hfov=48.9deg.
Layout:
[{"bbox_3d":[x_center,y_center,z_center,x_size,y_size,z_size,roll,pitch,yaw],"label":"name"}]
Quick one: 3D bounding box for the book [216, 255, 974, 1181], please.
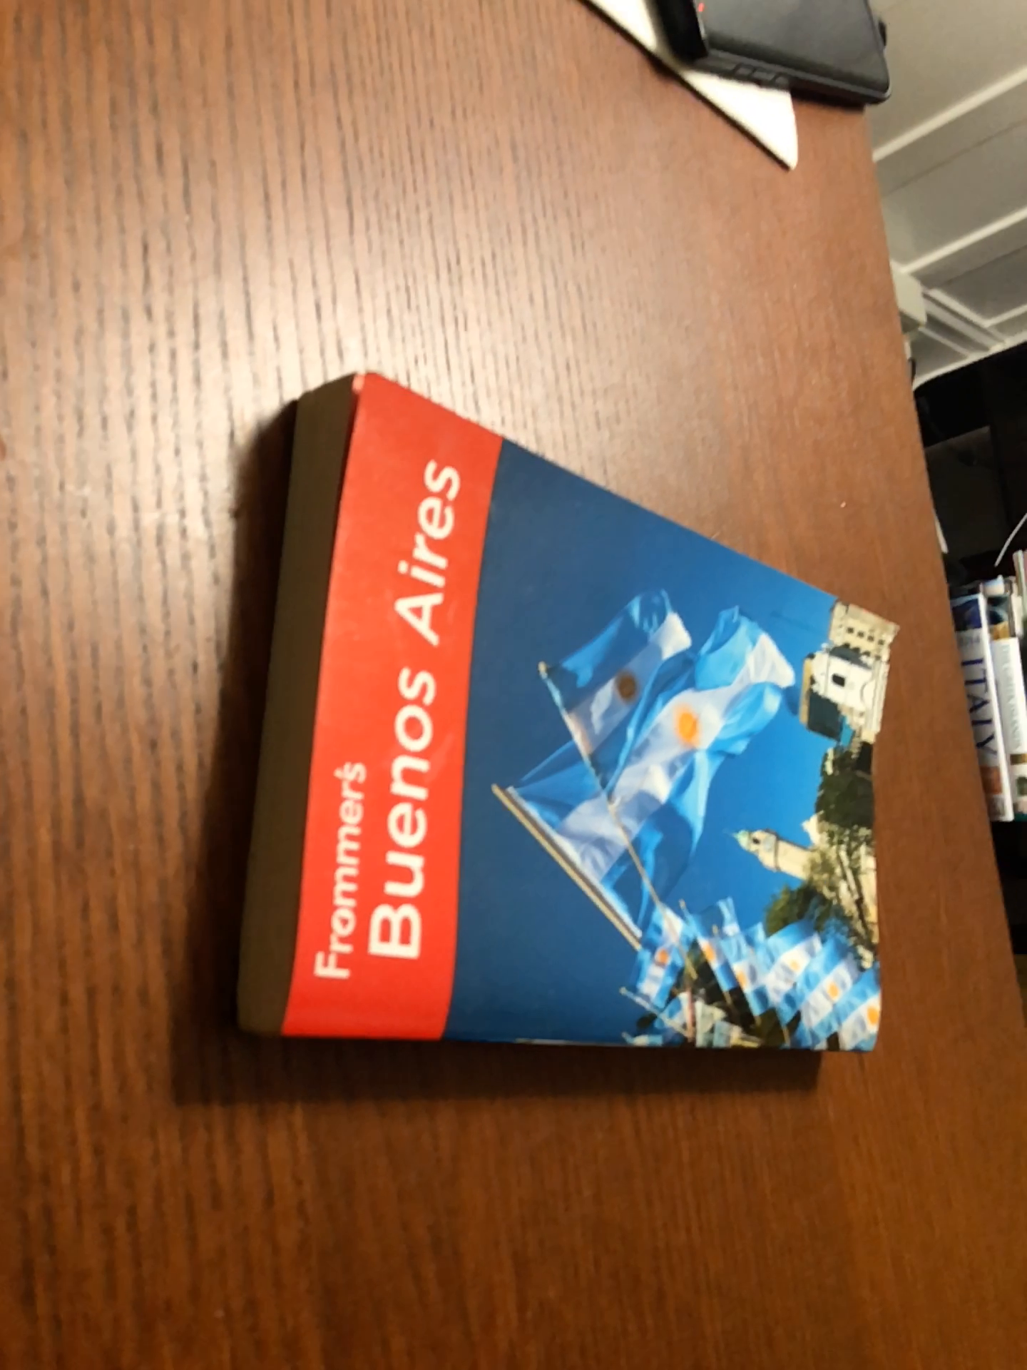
[{"bbox_3d":[0.043,0.024,0.267,0.221,0.020,0.160,18,67,-41],"label":"book"}]
